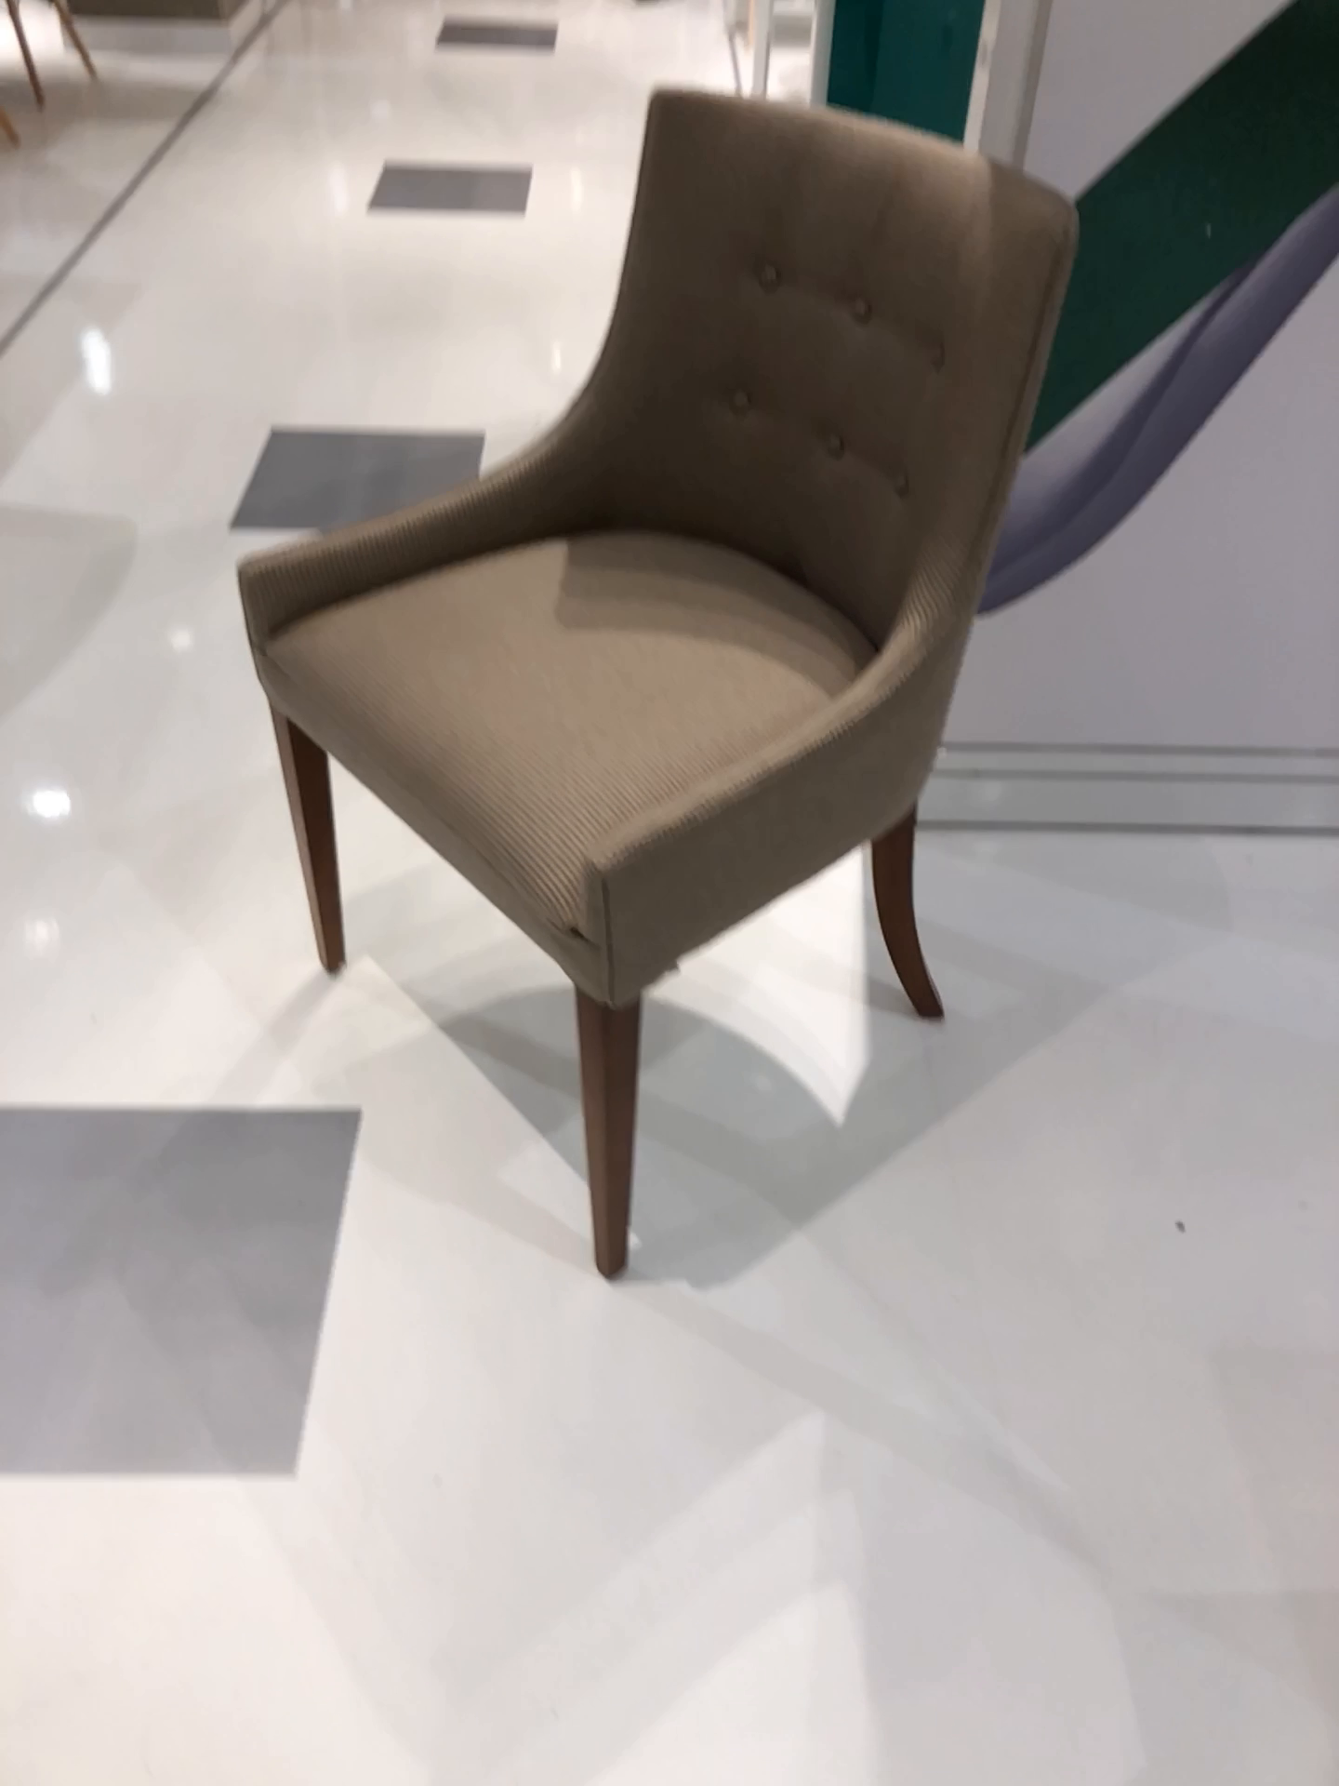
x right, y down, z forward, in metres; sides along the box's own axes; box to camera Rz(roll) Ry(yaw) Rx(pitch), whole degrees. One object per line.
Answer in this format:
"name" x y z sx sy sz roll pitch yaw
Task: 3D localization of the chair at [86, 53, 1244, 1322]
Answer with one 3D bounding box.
"chair" -0.028 -0.206 1.311 0.592 0.793 0.593 -26 48 -28
